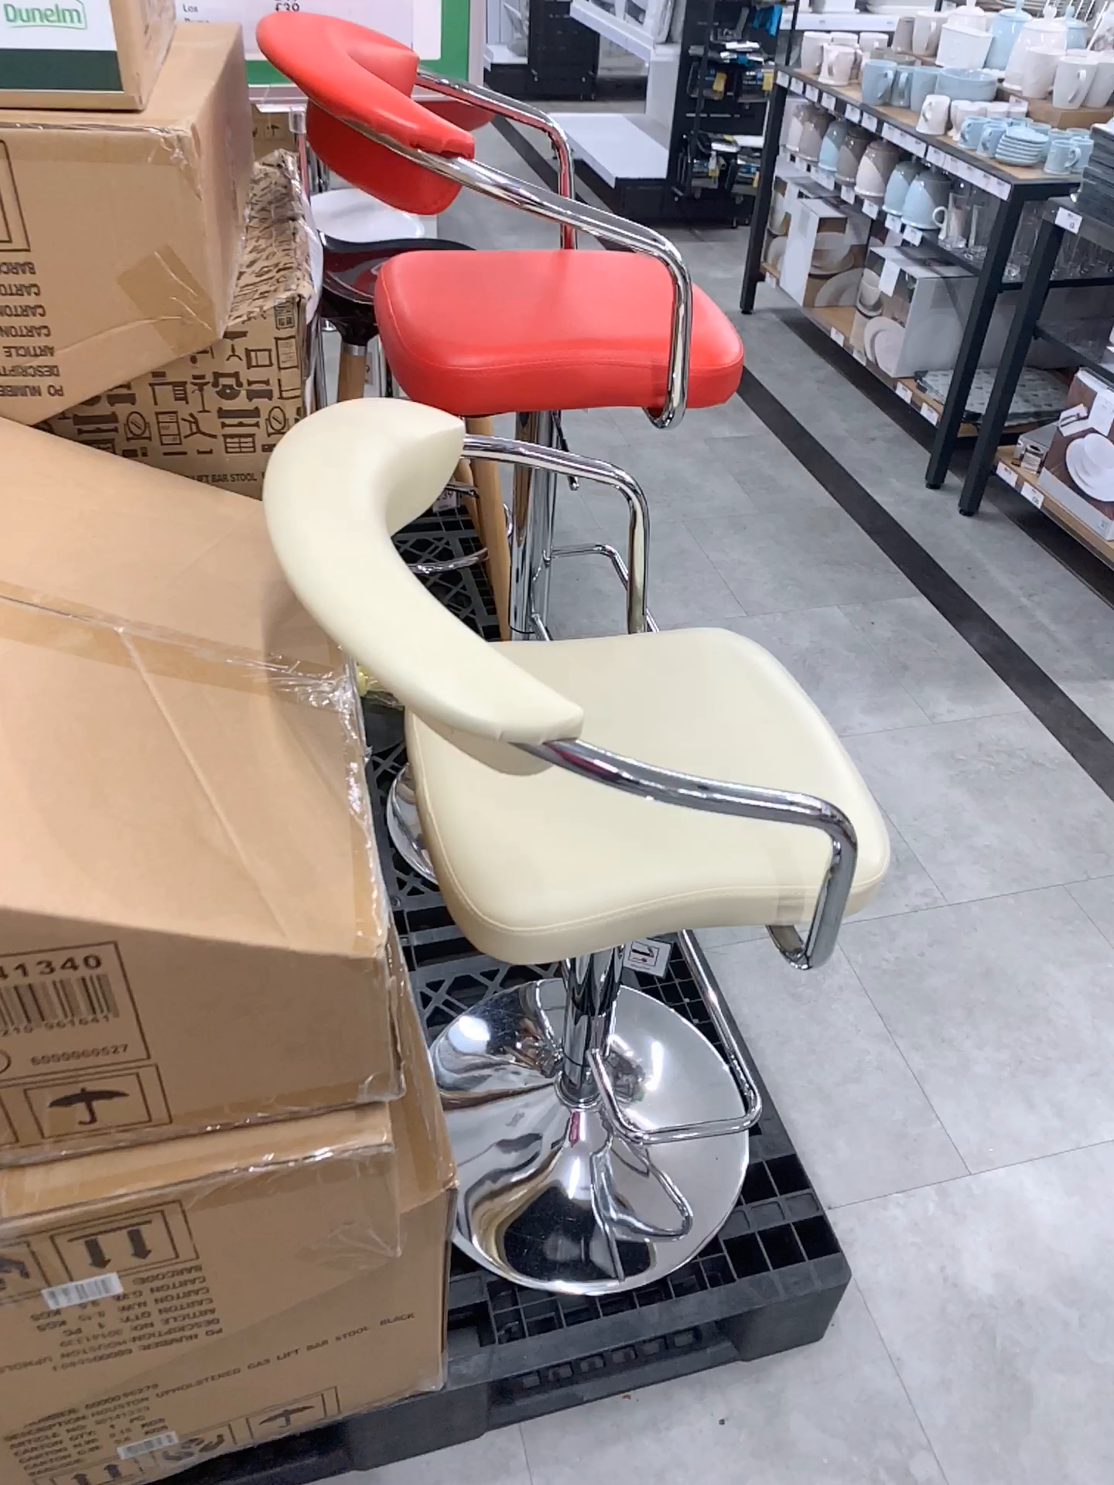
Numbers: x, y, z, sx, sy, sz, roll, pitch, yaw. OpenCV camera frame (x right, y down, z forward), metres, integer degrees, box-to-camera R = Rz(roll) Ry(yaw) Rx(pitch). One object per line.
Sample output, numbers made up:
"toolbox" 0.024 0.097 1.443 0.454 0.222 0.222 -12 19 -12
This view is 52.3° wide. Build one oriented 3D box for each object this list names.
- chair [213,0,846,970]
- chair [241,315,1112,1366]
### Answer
"chair" -0.087 -0.284 1.440 0.519 1.059 0.478 -7 41 -13
"chair" 0.020 0.110 1.079 0.499 0.841 0.468 -7 41 -13
